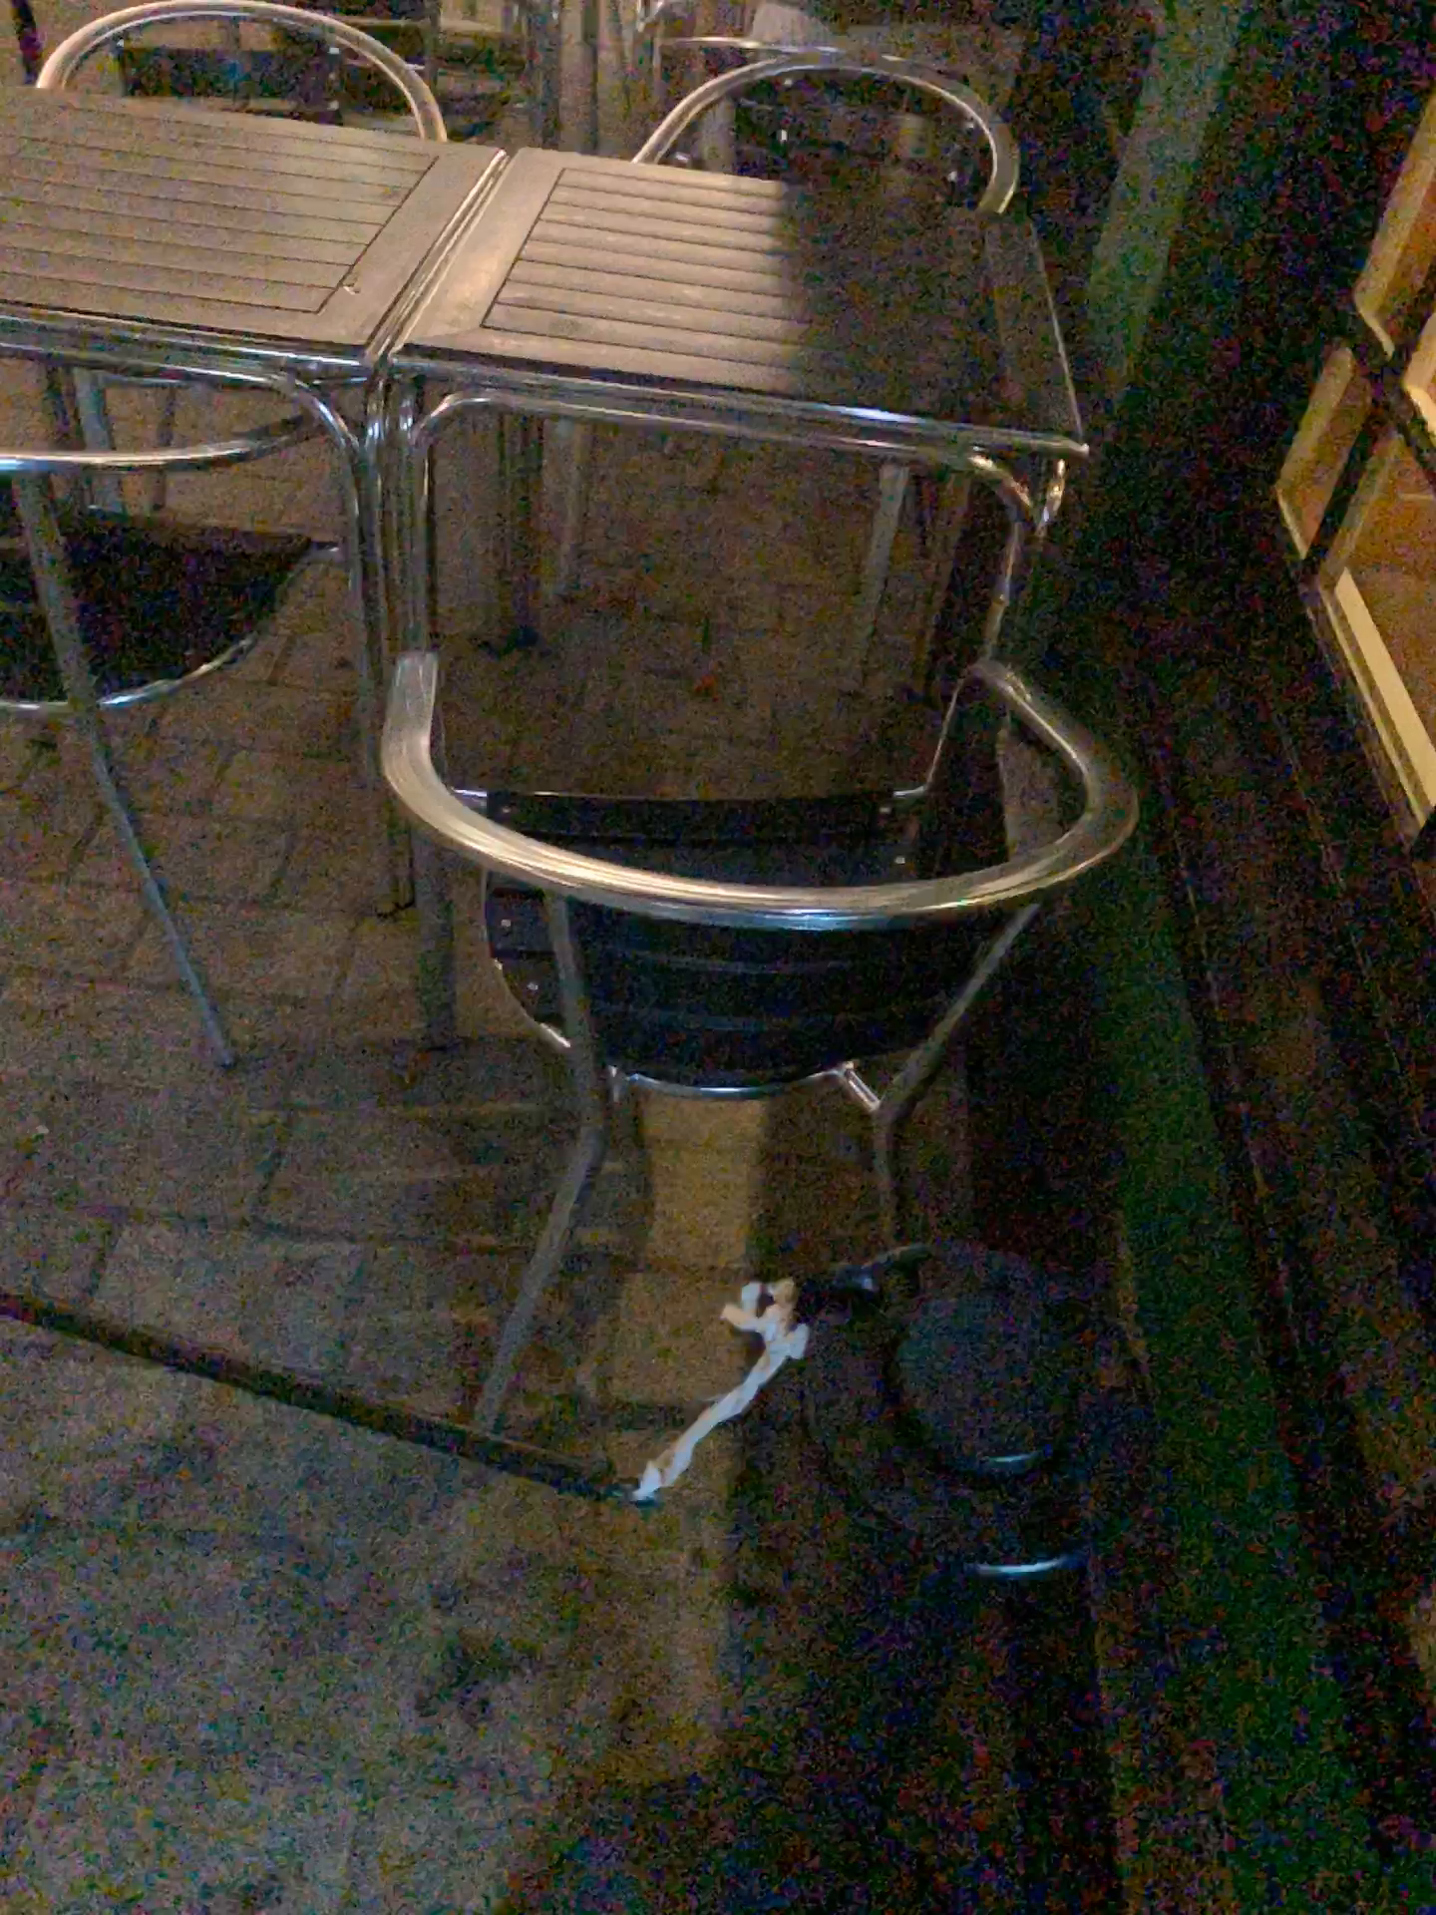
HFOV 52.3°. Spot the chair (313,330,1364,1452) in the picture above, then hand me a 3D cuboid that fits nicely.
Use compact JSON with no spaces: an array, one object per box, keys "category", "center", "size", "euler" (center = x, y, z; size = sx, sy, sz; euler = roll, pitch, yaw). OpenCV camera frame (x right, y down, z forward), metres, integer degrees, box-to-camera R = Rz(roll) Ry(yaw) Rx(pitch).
[{"category":"chair","center":[0.007,-0.053,1.392],"size":[0.660,0.782,0.656],"euler":[-1,44,-10]}]
